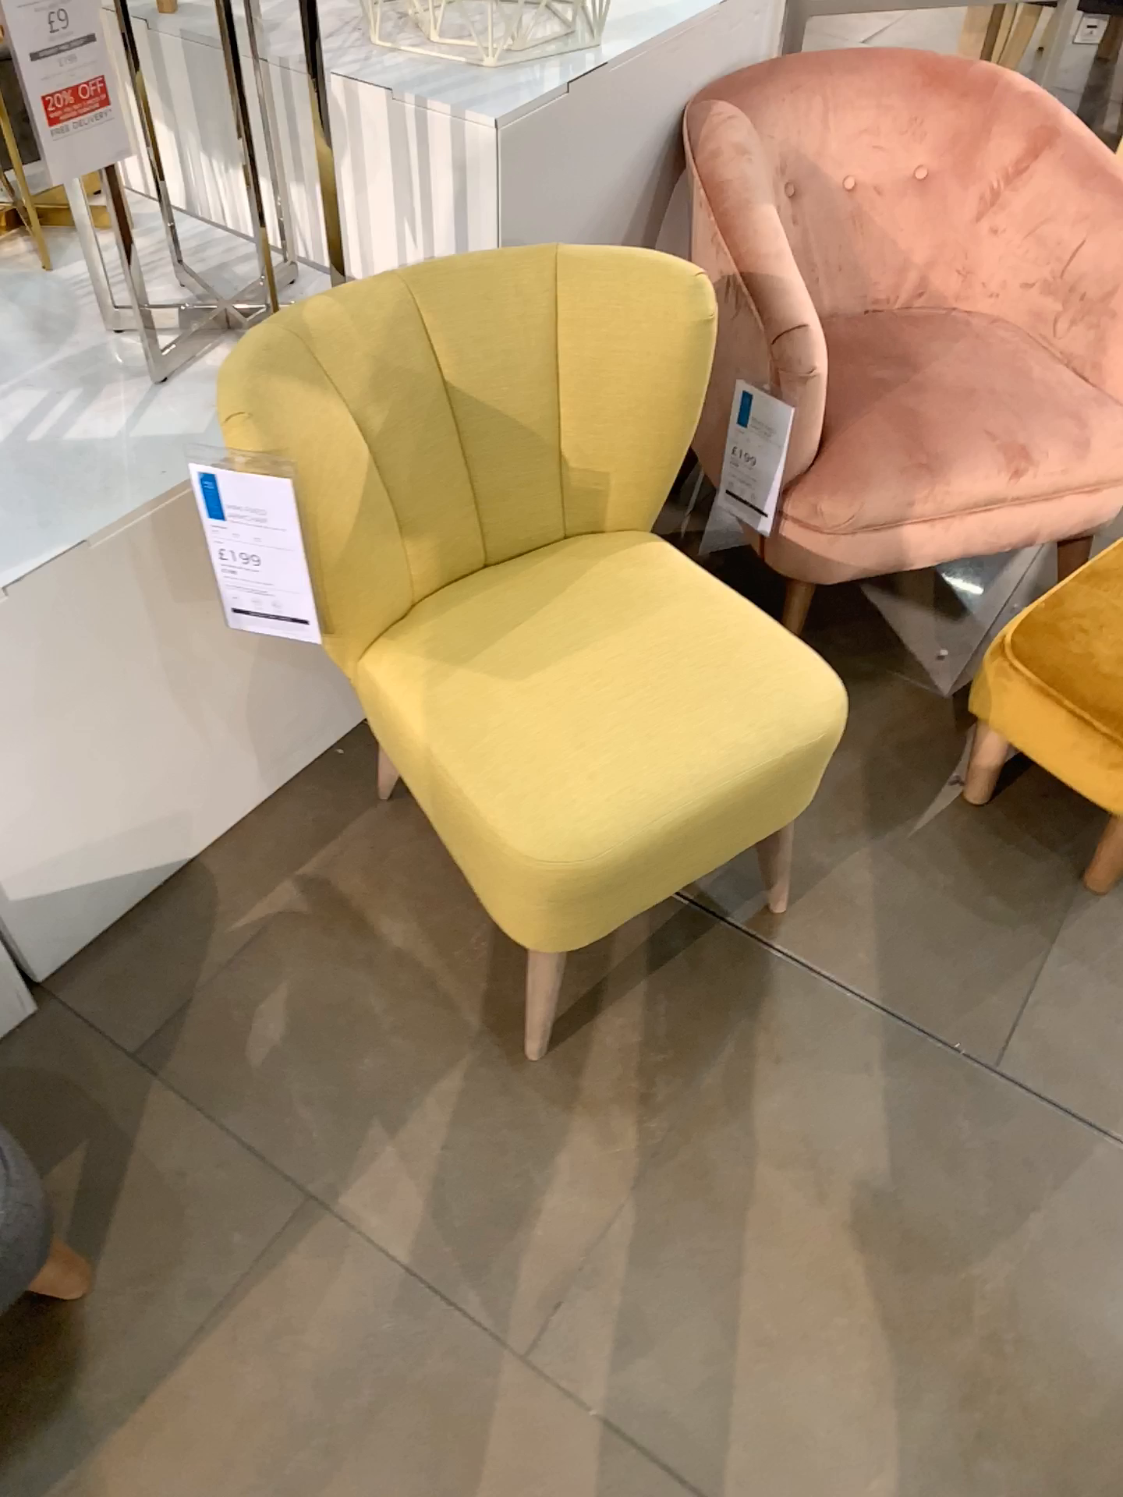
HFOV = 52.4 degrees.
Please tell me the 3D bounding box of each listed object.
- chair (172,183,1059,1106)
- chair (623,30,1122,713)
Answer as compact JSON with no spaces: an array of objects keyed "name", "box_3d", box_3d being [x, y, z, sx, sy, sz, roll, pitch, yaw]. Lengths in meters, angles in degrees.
[{"name":"chair","box_3d":[0.025,-0.132,1.326,0.608,0.696,0.589,-25,52,-22]},{"name":"chair","box_3d":[0.518,-0.600,1.826,0.617,0.765,0.590,-15,49,-15]}]
